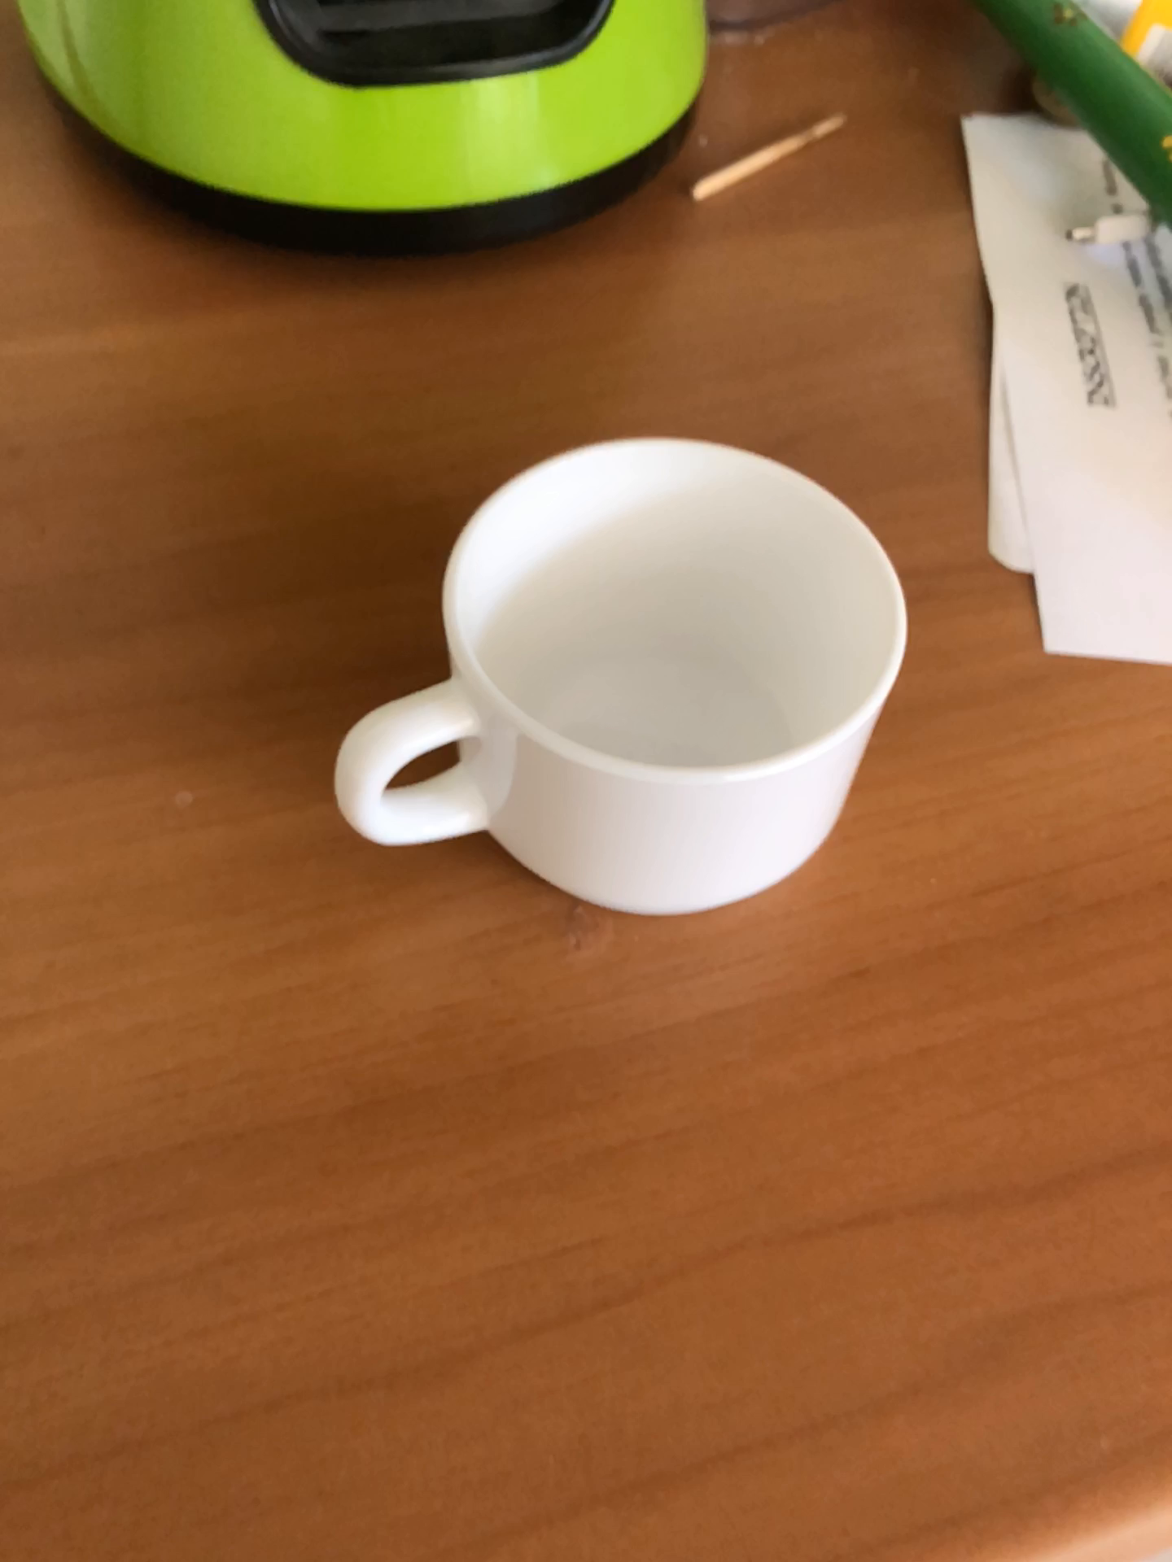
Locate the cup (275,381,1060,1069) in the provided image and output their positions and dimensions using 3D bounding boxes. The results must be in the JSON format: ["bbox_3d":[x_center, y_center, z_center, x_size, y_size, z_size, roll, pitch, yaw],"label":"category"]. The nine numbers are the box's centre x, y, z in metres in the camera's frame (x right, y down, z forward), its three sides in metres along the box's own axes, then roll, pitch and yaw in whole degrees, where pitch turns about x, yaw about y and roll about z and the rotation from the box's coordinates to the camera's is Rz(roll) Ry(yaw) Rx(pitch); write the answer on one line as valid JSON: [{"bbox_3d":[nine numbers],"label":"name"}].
[{"bbox_3d":[0.010,-0.014,0.230,0.100,0.050,0.080,-20,59,-17],"label":"cup"}]
